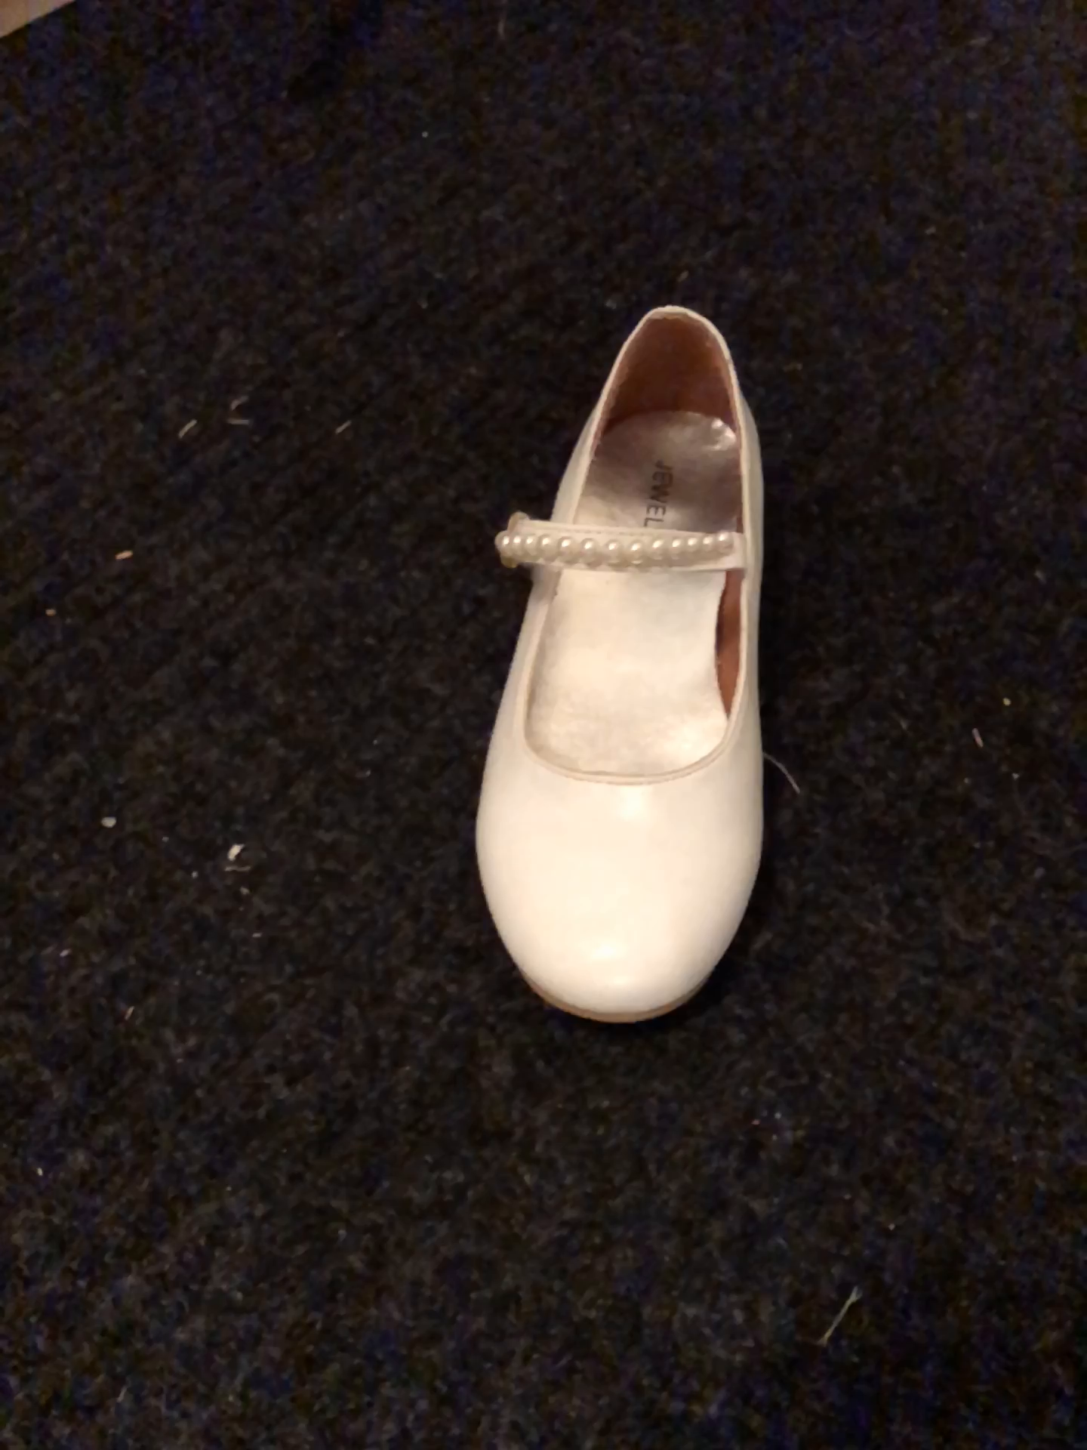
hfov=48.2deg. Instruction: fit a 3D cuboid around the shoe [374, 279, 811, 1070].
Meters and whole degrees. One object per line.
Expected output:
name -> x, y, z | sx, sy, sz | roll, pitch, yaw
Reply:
shoe -> 0.024, -0.024, 0.324 | 0.080, 0.080, 0.201 | 5, 53, 8
